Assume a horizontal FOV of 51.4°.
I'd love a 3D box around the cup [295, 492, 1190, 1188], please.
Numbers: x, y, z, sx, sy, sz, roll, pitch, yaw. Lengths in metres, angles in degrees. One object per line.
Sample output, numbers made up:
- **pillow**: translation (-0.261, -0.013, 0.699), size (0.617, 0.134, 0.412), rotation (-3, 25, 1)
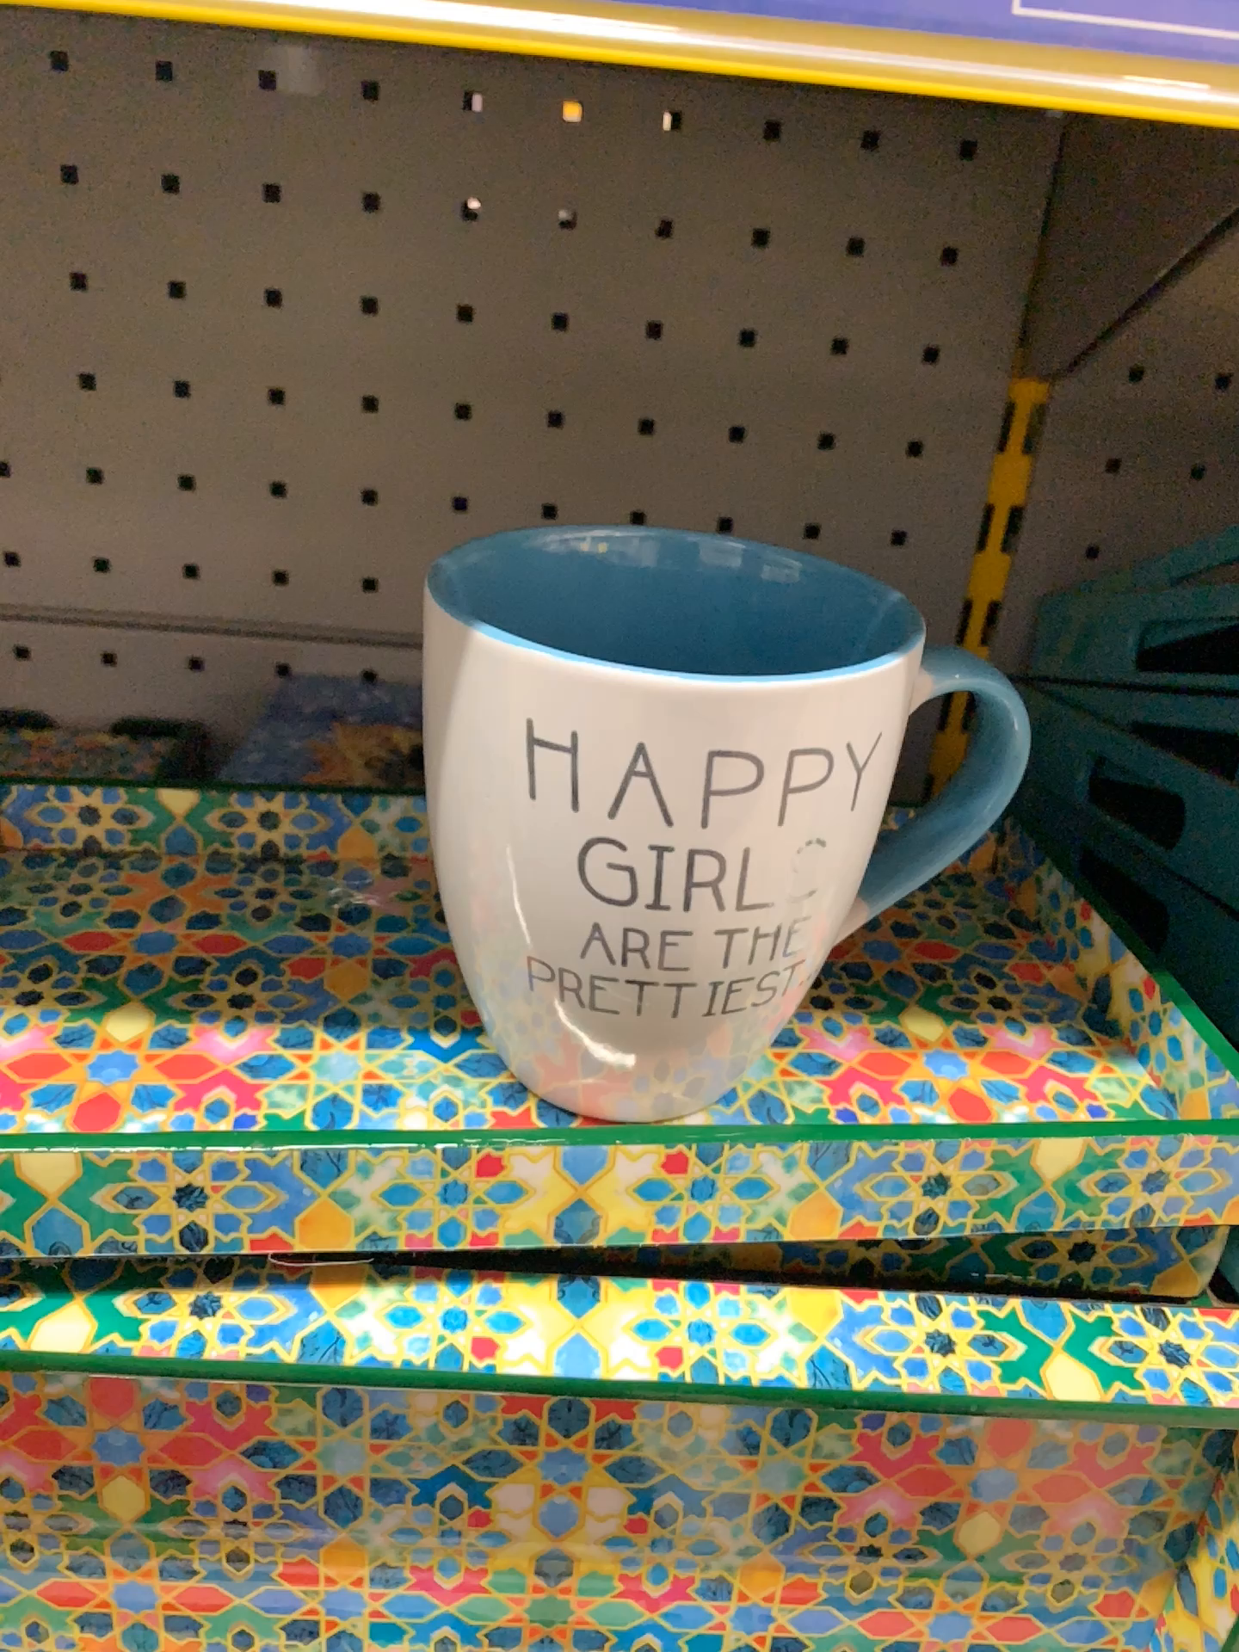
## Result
- **cup**: translation (0.015, -0.007, 0.294), size (0.150, 0.100, 0.120), rotation (-1, 26, -24)
